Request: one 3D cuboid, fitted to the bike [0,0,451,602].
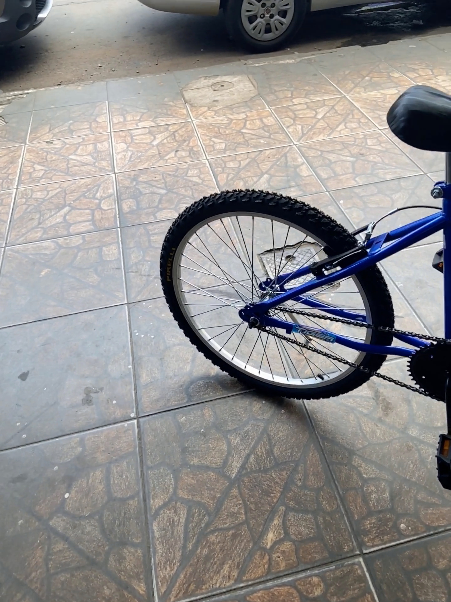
[{"bbox_3d":[0.470,0.014,0.756,1.488,0.923,0.625,19,53,25],"label":"bike"}]
